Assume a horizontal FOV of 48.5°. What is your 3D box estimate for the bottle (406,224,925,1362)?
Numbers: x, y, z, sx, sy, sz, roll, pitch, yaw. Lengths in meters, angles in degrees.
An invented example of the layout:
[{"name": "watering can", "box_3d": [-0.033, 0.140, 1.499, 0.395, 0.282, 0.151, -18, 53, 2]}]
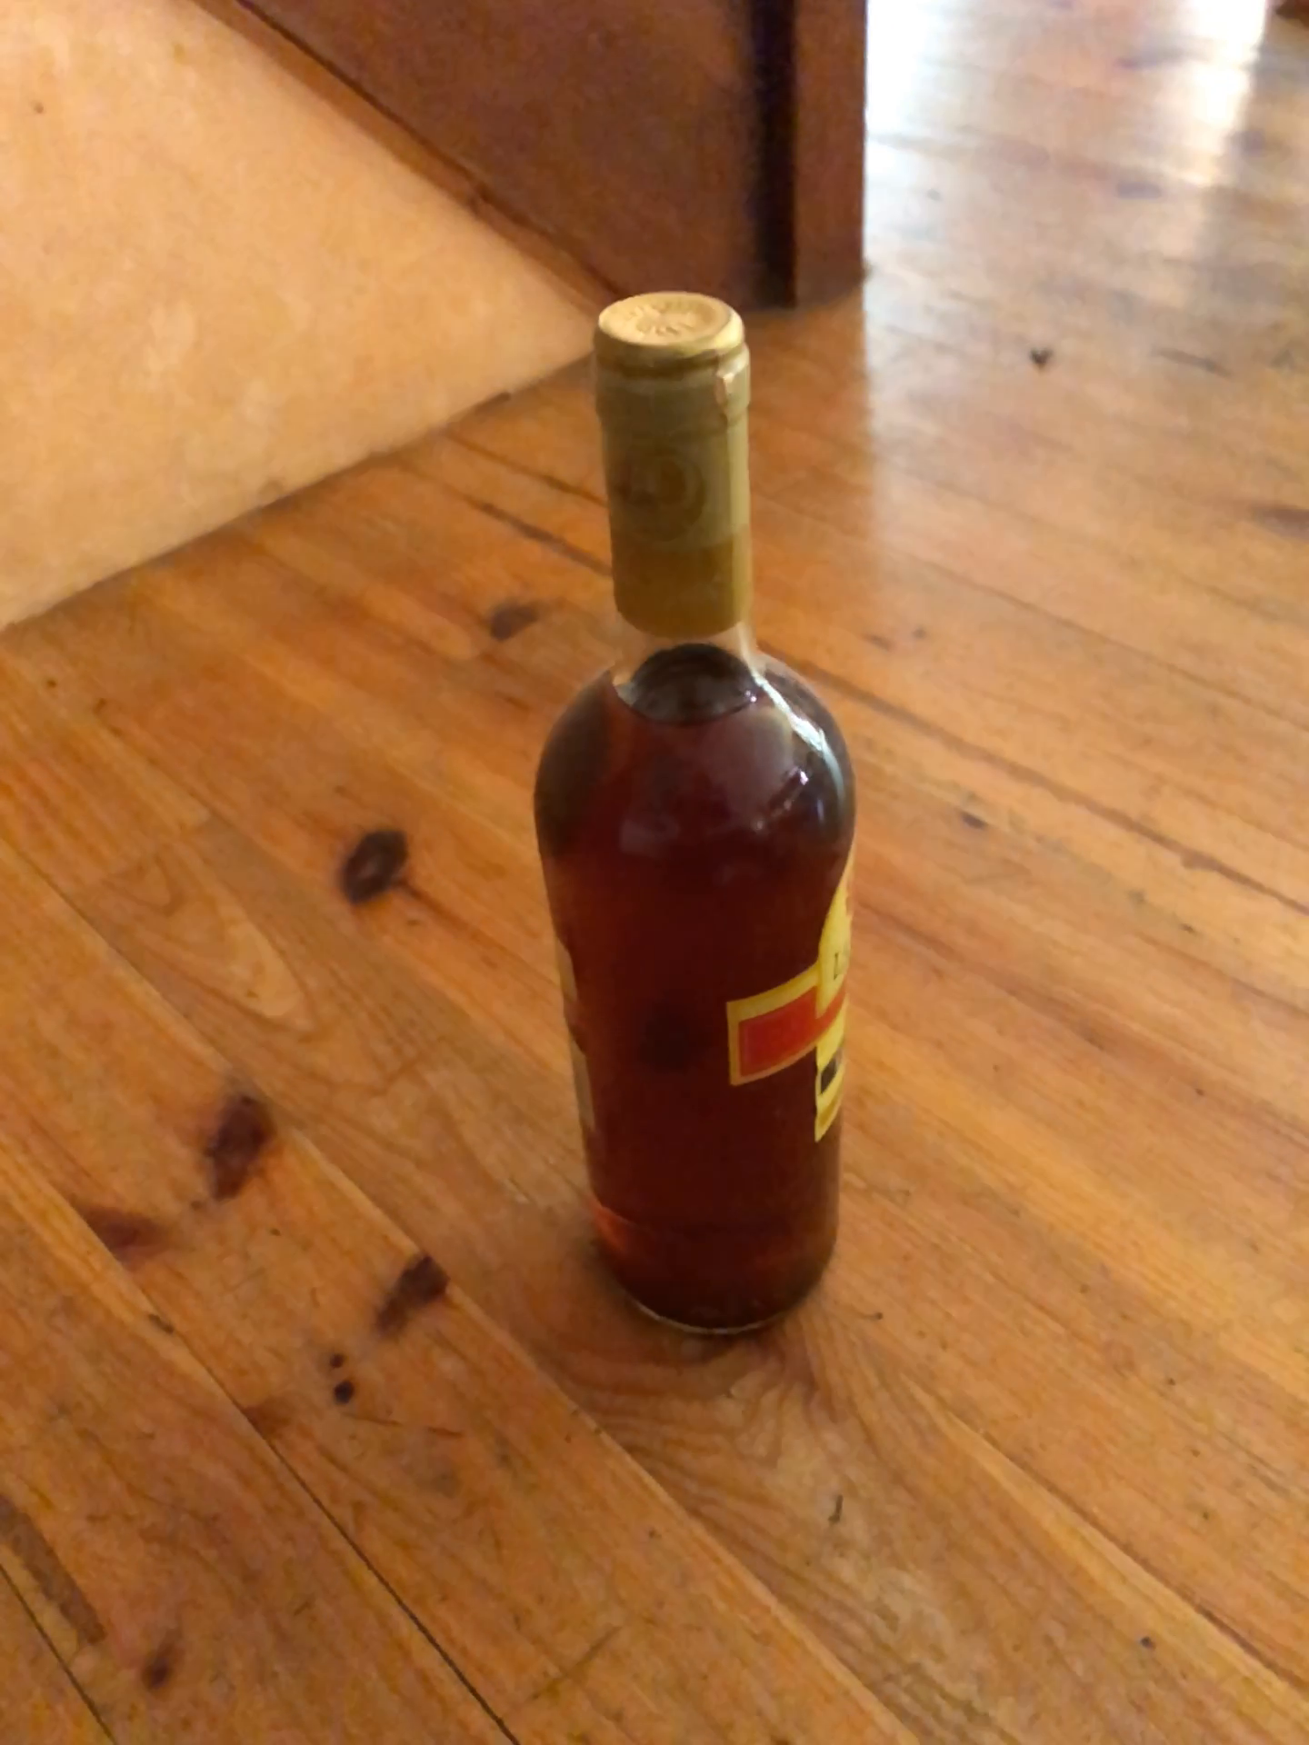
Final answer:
[{"name": "bottle", "box_3d": [0.014, 0.008, 0.351, 0.080, 0.288, 0.081, -3, 43, 3]}]
